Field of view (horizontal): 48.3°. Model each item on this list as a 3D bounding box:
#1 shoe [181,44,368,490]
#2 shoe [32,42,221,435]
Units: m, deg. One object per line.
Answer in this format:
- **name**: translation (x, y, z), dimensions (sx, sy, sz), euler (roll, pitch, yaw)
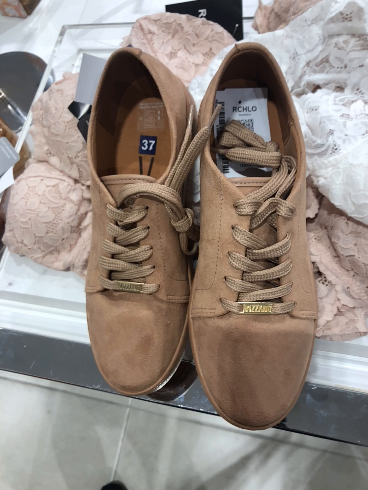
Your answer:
- **shoe**: translation (0.046, 0.009, 0.272), dimensions (0.090, 0.100, 0.240), euler (0, 82, -2)
- **shoe**: translation (-0.033, -0.007, 0.308), dimensions (0.090, 0.100, 0.240), euler (4, 86, 14)
